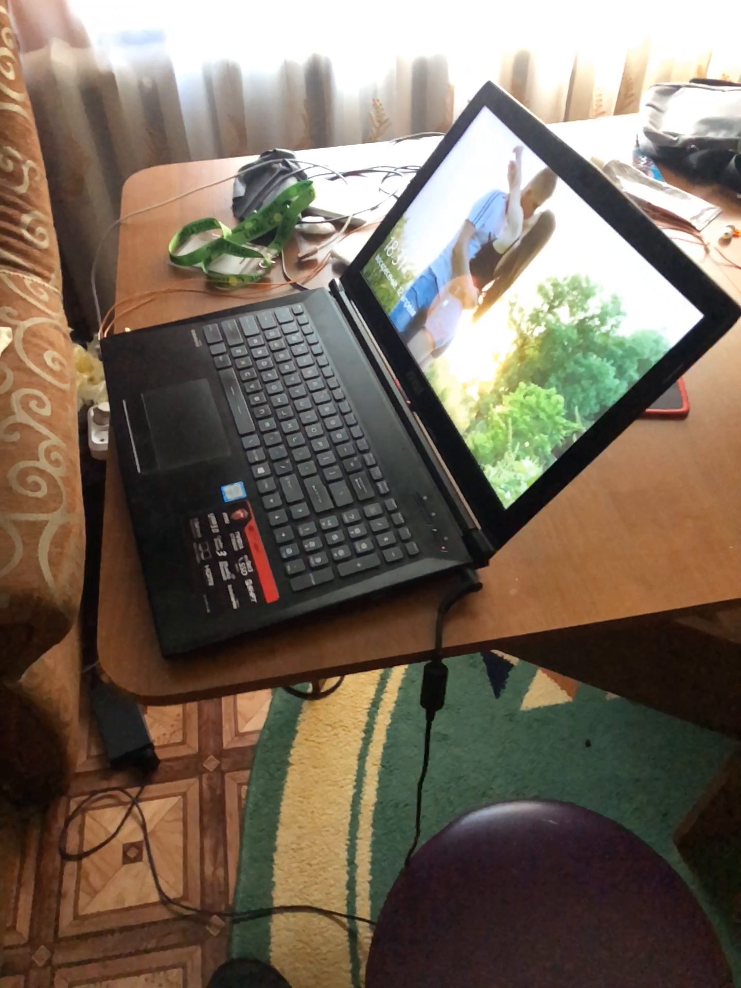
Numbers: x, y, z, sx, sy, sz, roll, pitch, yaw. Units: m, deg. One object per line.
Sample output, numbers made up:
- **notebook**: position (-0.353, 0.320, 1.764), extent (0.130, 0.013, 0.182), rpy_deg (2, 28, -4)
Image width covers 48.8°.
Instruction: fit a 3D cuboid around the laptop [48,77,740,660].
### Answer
- **laptop**: position (-0.009, -0.134, 0.654), extent (0.409, 0.174, 0.375), rpy_deg (-16, 50, -12)
